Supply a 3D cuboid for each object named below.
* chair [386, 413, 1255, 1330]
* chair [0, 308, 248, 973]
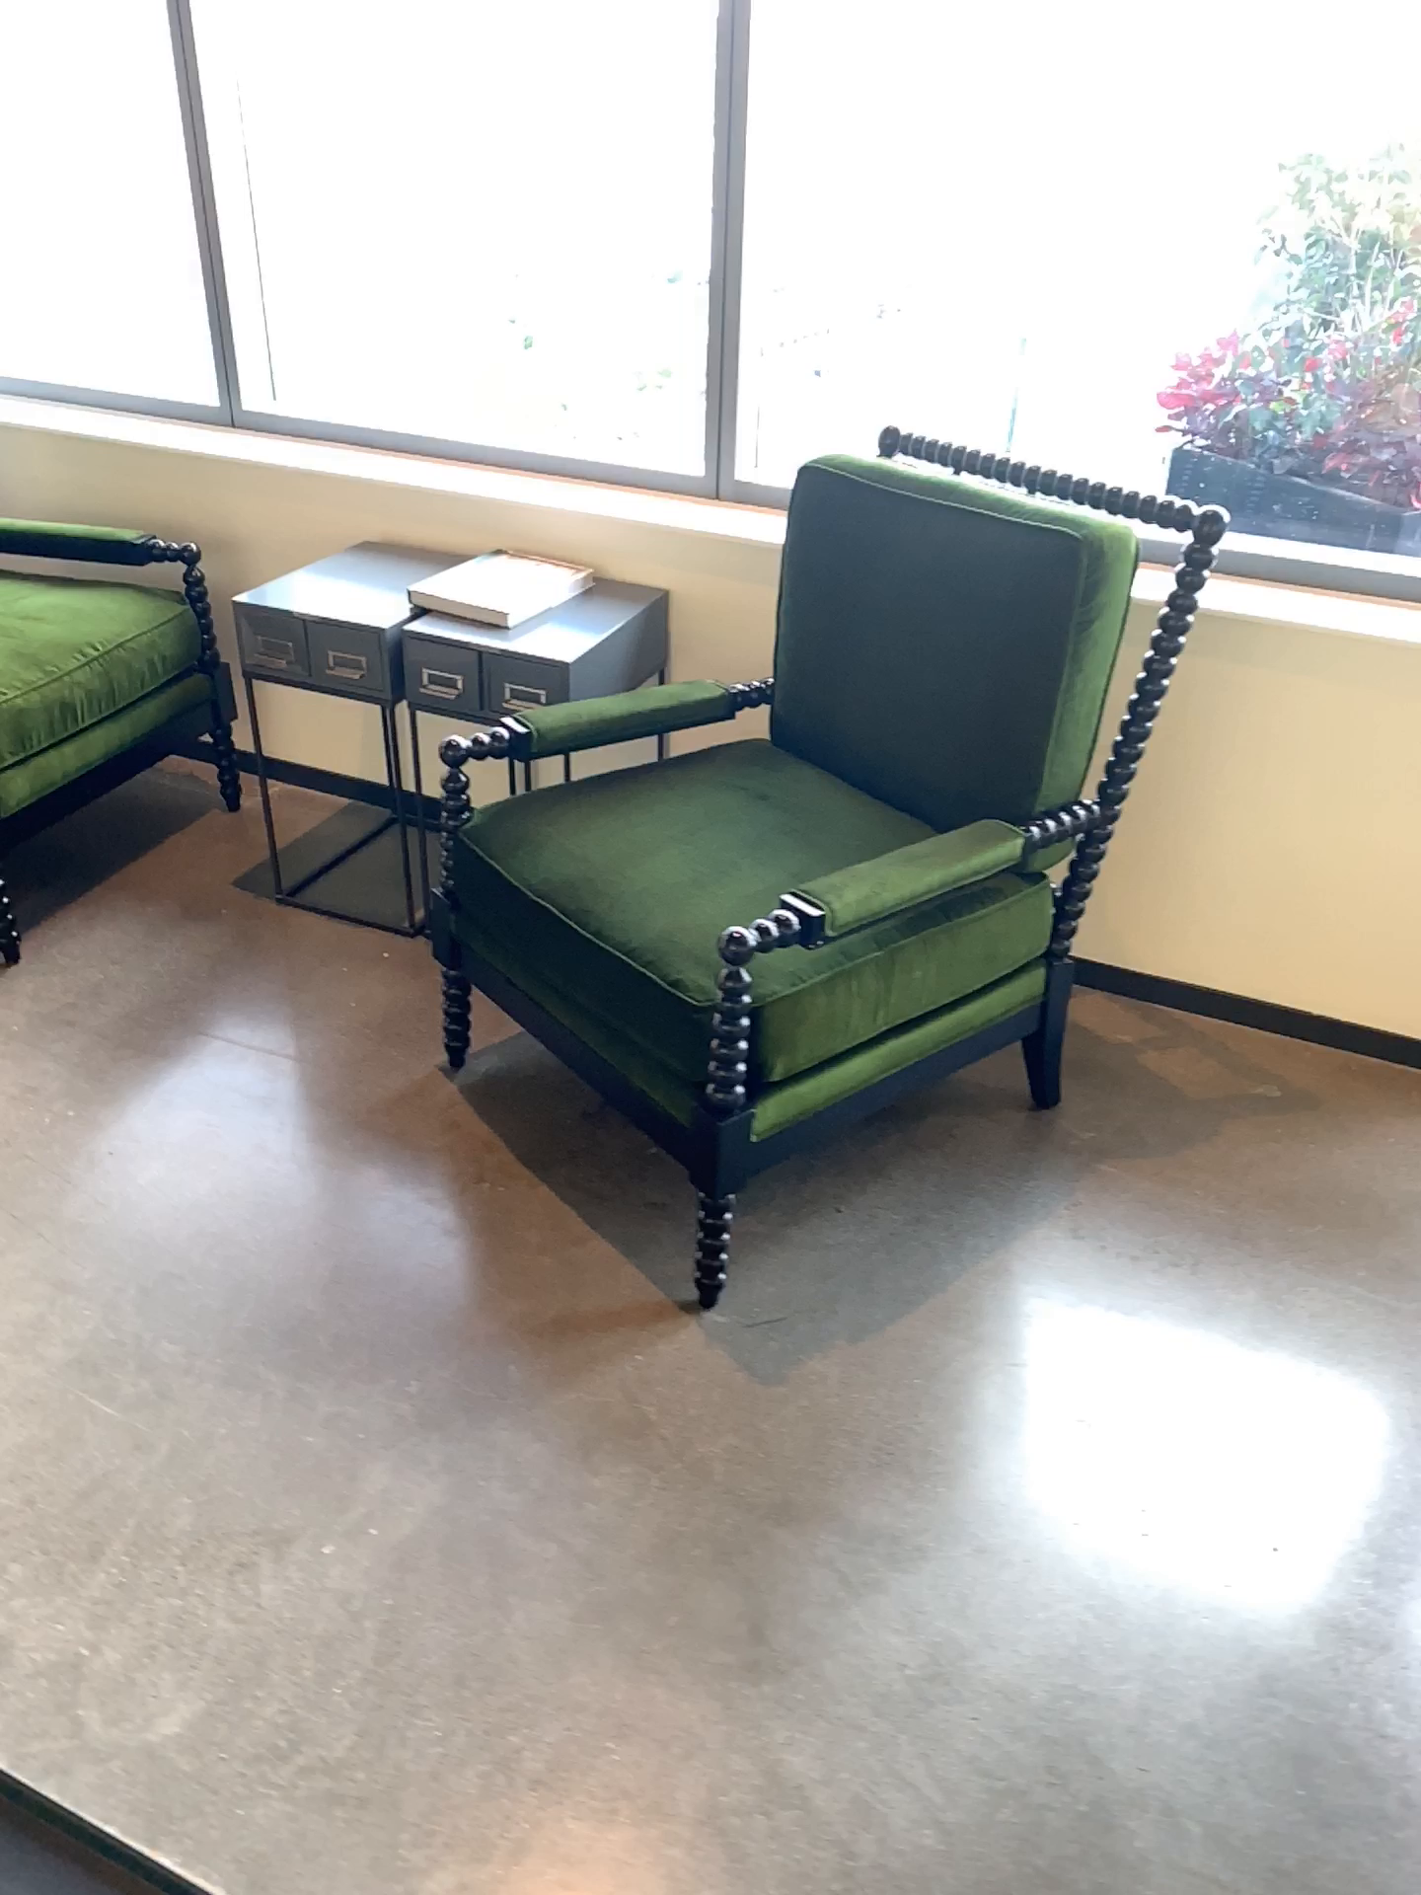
[{"bbox_3d":[0.133,-0.197,2.247,0.921,0.984,0.764,-20,38,-32],"label":"chair"},{"bbox_3d":[-1.575,-0.638,2.833,0.921,0.974,0.734,11,32,15],"label":"chair"}]
